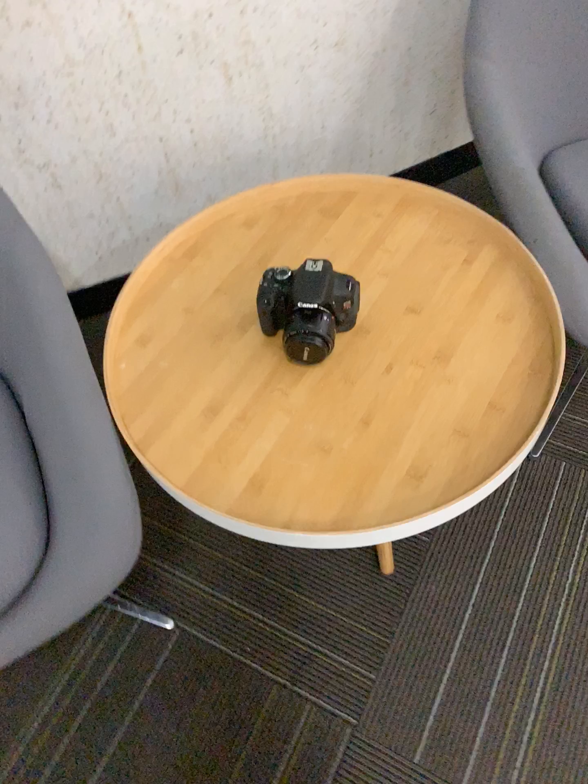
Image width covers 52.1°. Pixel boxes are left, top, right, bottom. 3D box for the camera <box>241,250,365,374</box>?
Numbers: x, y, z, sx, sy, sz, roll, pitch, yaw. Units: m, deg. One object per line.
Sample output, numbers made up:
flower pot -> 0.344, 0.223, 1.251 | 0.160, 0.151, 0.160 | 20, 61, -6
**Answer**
camera -> 0.017, -0.104, 0.779 | 0.134, 0.090, 0.119 | 6, 59, 9
